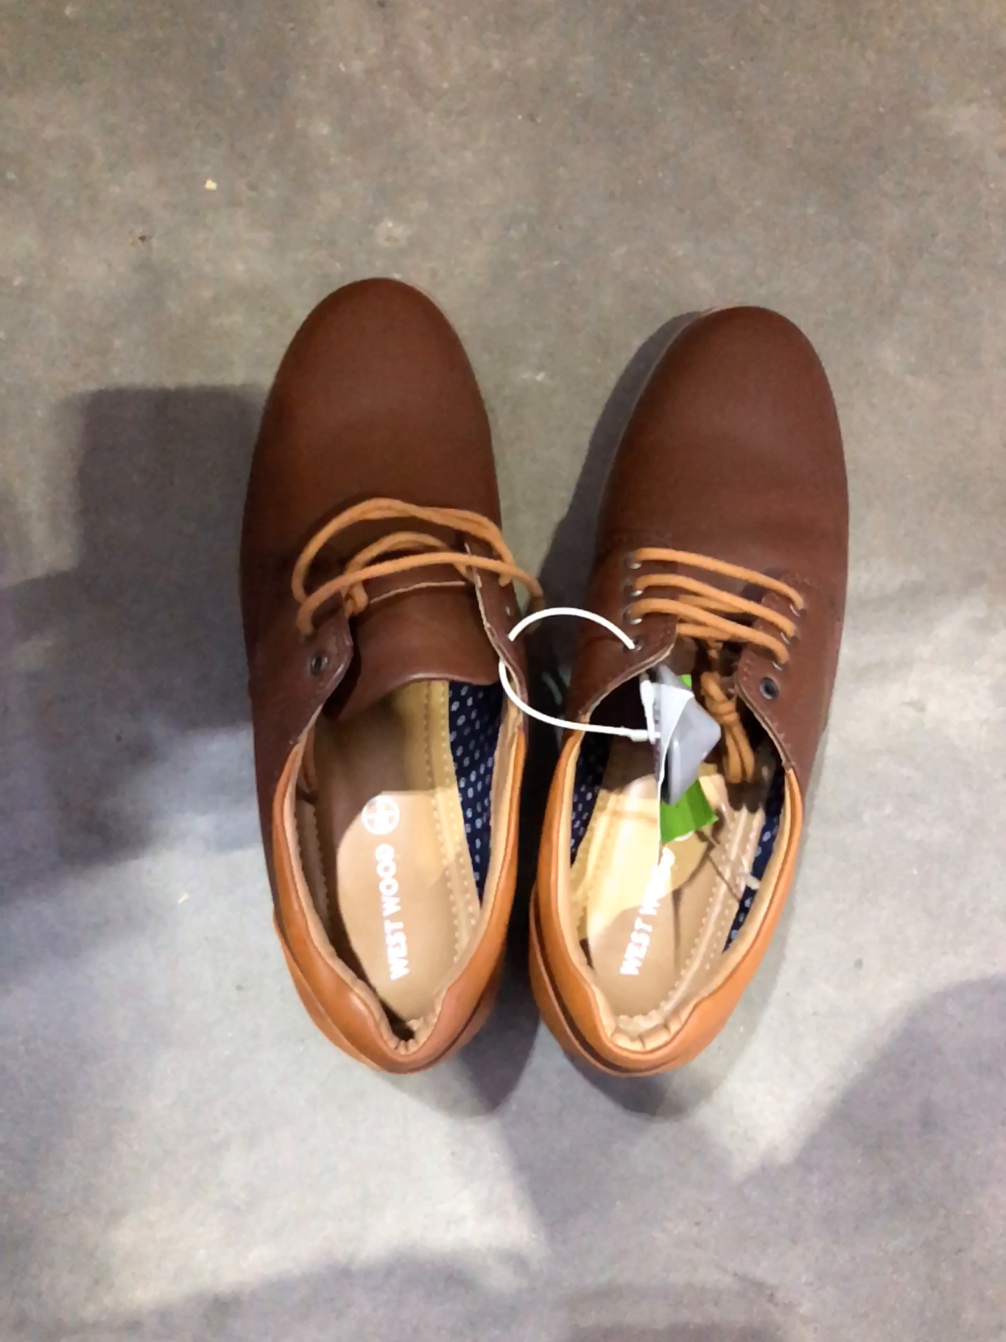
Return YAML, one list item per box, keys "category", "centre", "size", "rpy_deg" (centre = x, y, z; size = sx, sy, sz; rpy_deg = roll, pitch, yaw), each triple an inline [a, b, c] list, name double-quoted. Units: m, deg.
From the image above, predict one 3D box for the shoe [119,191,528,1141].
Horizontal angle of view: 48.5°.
- category: "shoe"
  centre: [-0.060, -0.003, 0.390]
  size: [0.110, 0.120, 0.280]
  rpy_deg: [-3, 81, -3]

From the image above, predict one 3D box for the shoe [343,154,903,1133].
- category: "shoe"
  centre: [0.044, -0.010, 0.434]
  size: [0.120, 0.130, 0.310]
  rpy_deg: [14, 80, 0]
